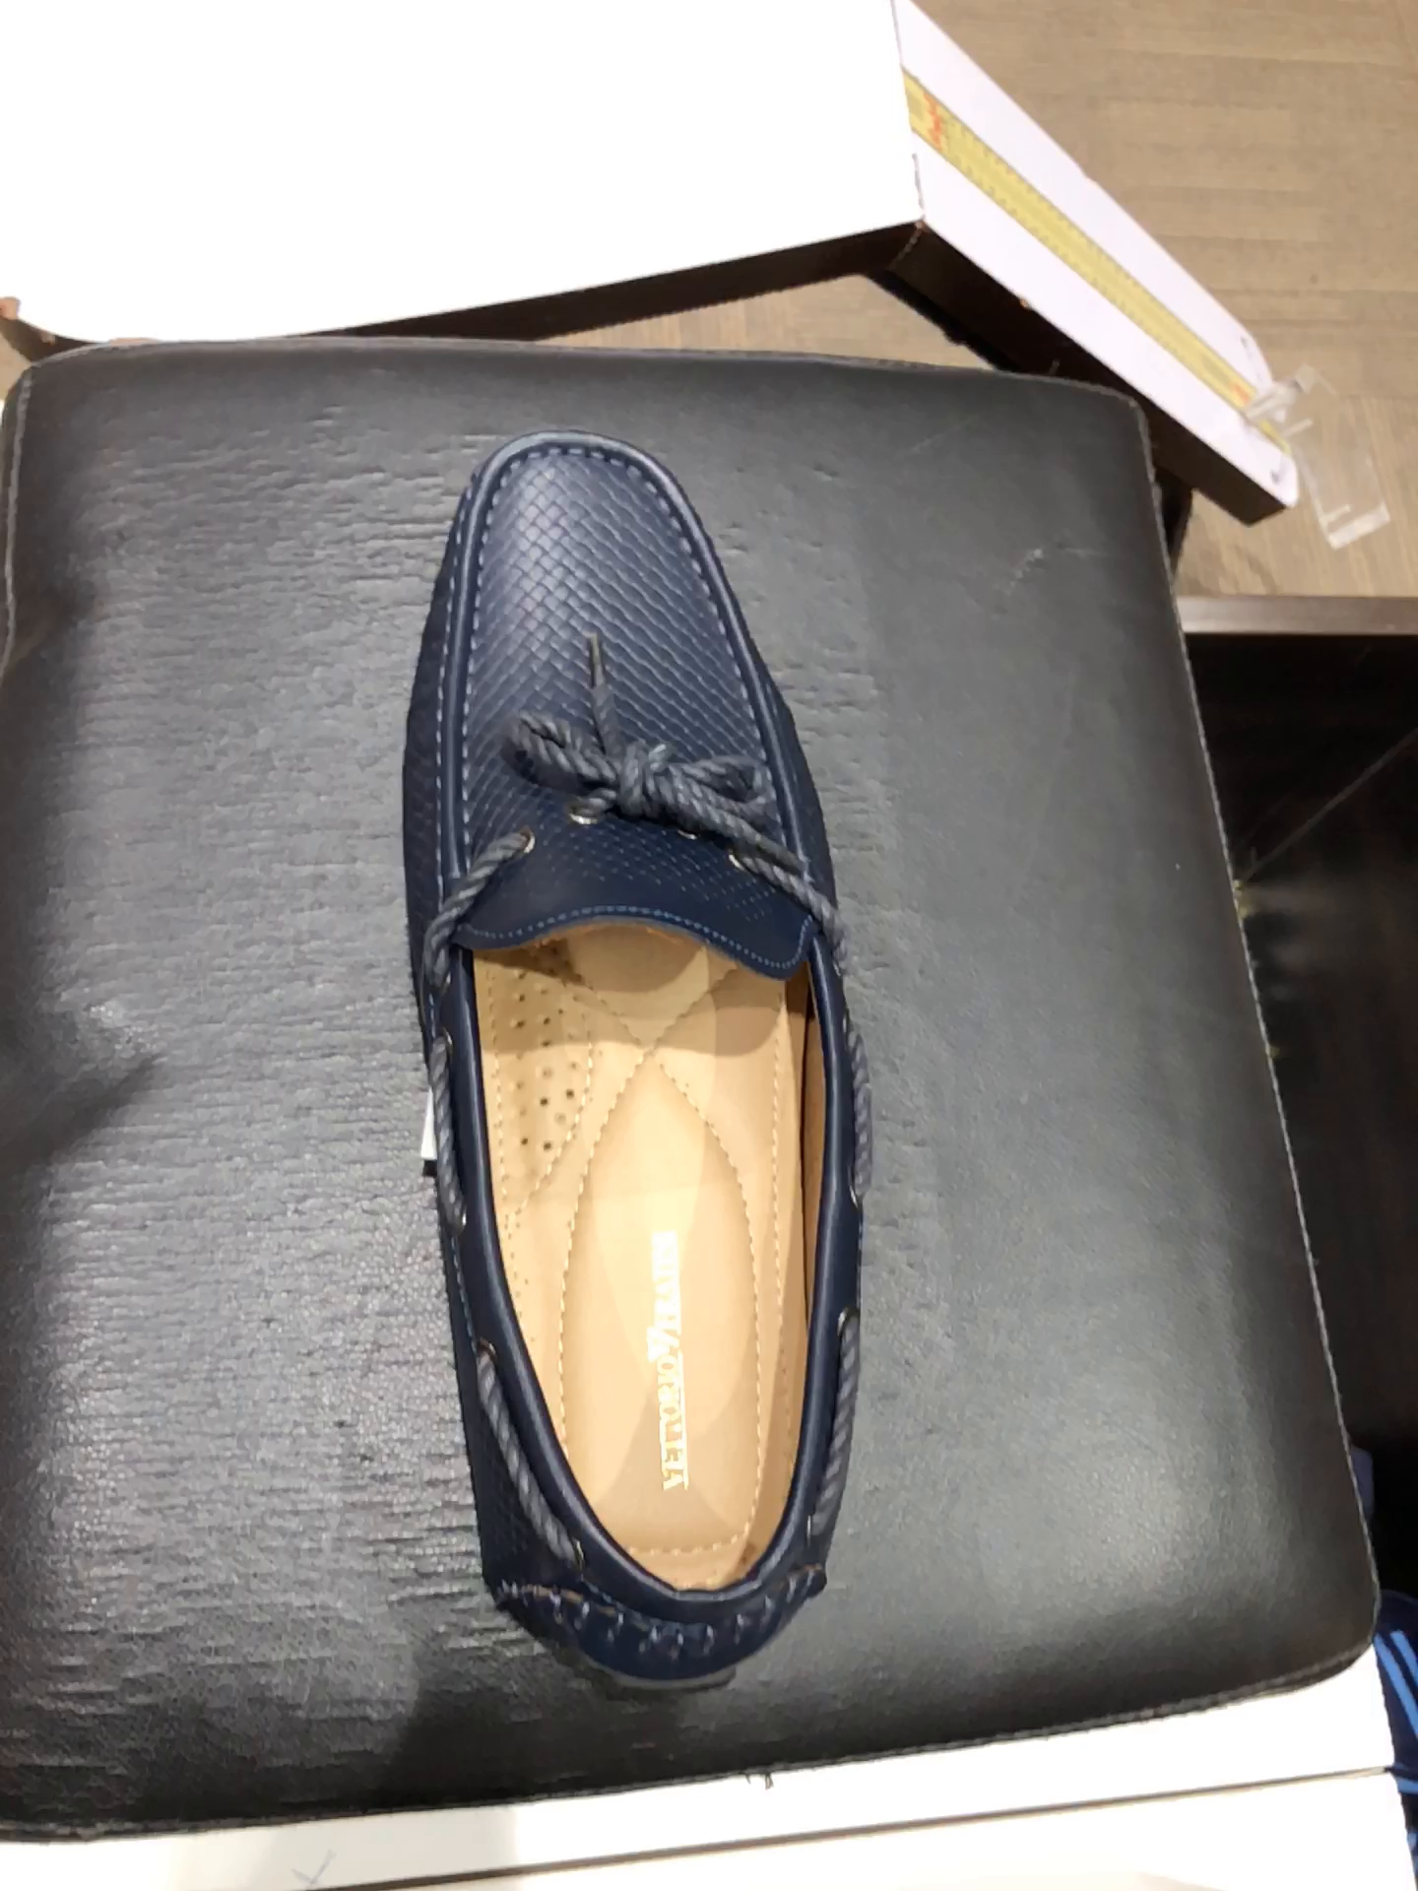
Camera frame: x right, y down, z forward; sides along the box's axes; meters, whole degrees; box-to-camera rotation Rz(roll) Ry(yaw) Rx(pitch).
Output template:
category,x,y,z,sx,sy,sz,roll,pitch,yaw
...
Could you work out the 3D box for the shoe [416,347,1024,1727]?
category,x,y,z,sx,sy,sz,roll,pitch,yaw
shoe,-0.010,0.010,0.342,0.100,0.080,0.271,-1,71,-8
